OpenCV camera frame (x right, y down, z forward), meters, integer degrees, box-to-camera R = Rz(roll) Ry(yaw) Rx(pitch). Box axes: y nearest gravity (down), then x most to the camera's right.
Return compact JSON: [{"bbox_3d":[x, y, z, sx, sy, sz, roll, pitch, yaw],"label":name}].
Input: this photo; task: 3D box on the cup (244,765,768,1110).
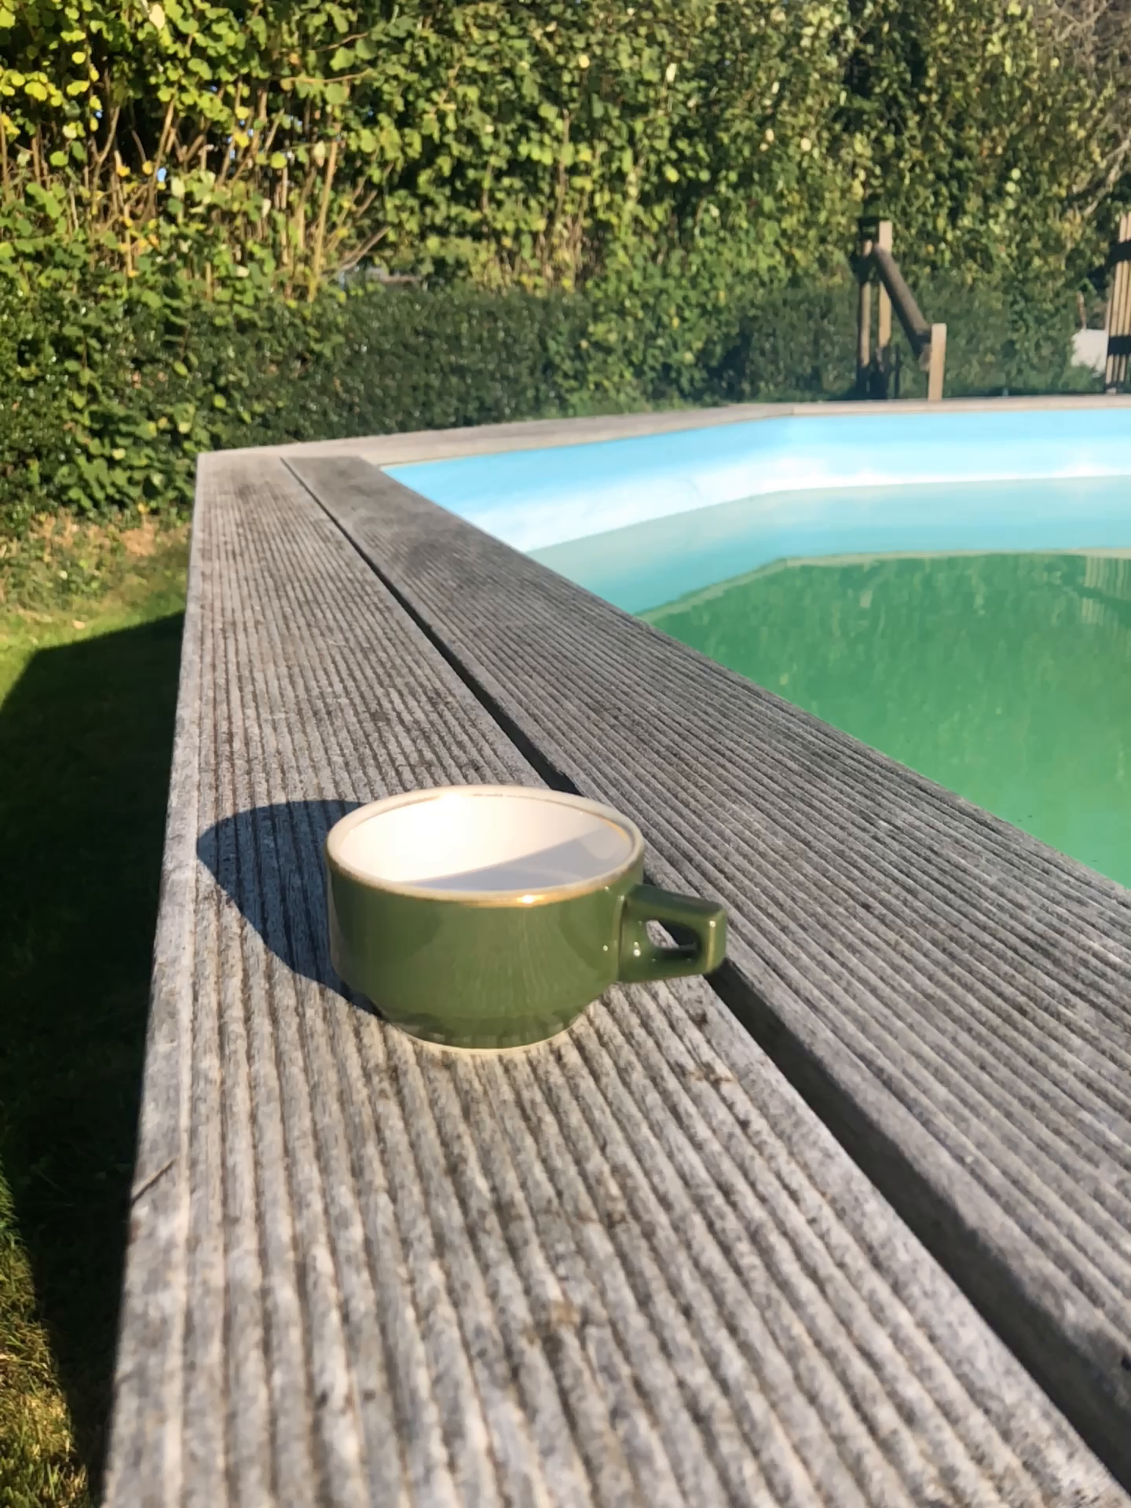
[{"bbox_3d":[-0.011,0.037,0.297,0.095,0.038,0.083,7,17,25],"label":"cup"}]
